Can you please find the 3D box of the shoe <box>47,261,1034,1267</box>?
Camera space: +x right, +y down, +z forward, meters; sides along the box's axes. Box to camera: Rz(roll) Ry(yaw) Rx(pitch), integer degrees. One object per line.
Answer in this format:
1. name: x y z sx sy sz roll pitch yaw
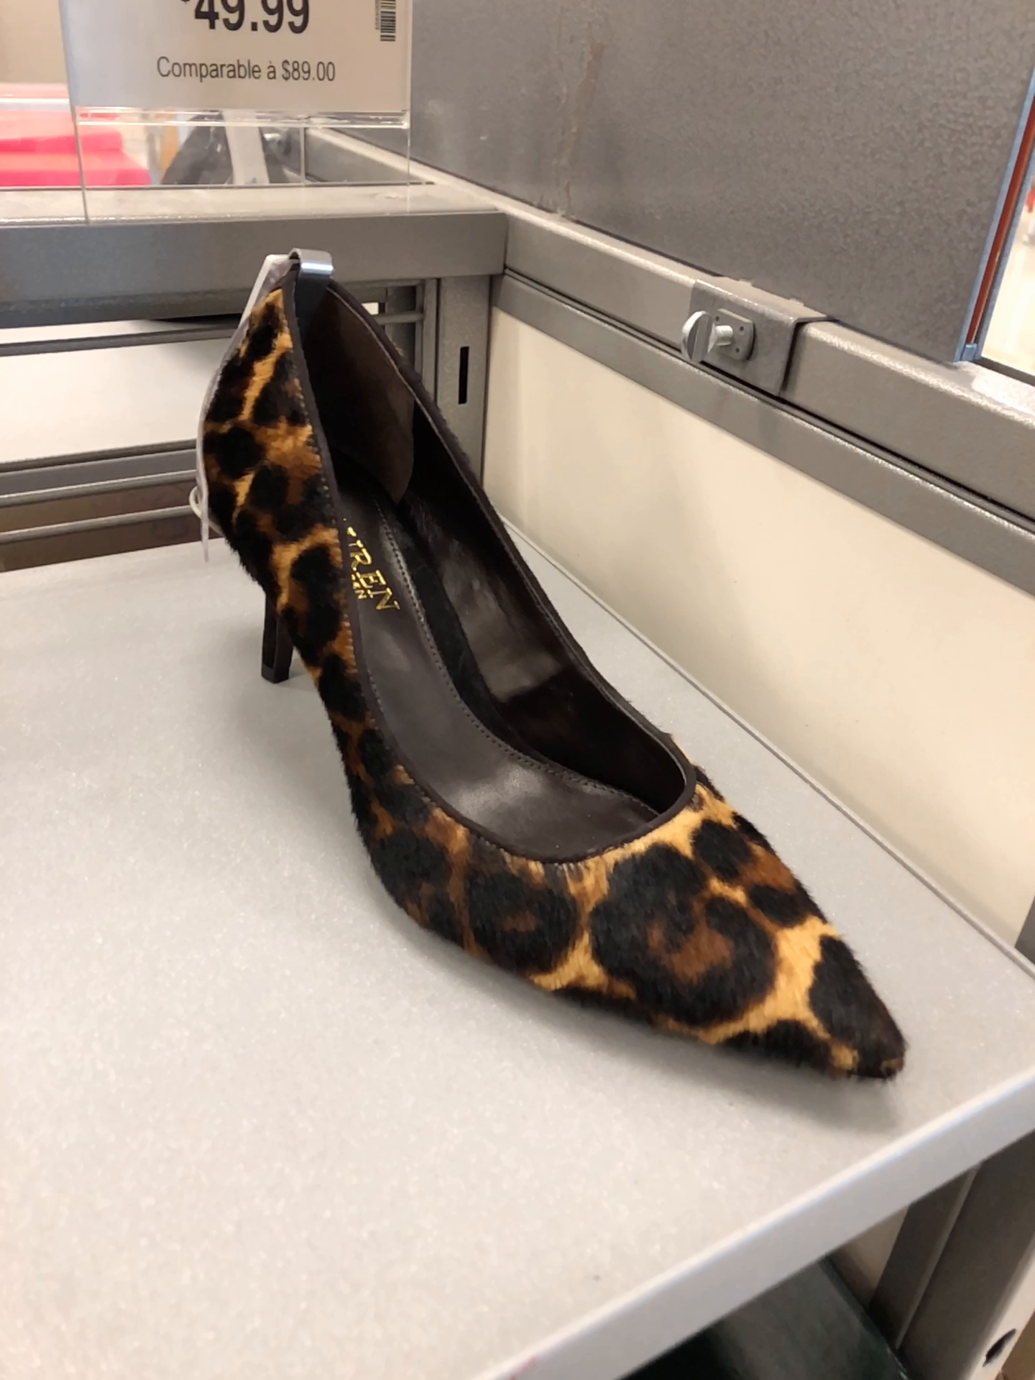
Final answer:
1. shoe: -0.016 -0.013 0.303 0.090 0.129 0.271 -22 41 -36
